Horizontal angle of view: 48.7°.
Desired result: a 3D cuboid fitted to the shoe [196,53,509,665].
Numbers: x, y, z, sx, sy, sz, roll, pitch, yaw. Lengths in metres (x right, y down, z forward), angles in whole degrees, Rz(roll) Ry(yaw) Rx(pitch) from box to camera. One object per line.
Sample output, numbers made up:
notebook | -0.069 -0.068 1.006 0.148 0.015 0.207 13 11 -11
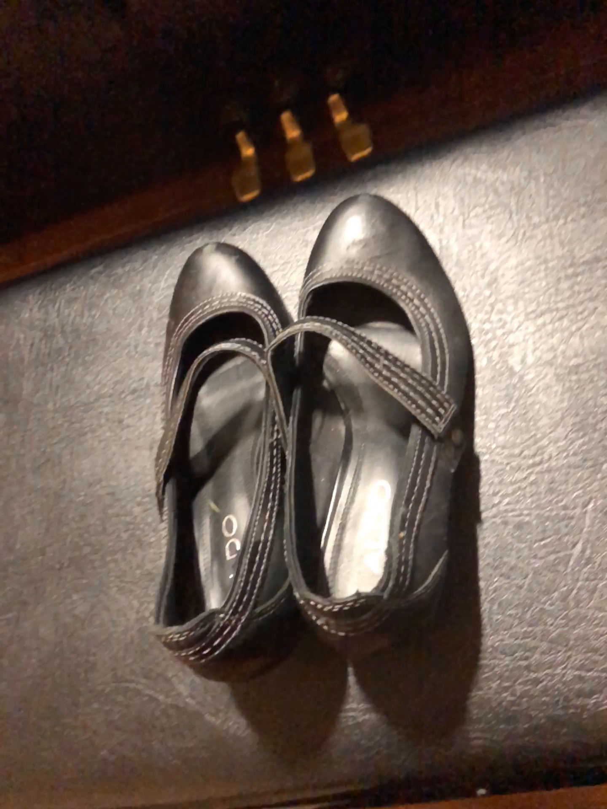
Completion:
shoe | 0.026 -0.012 0.306 0.100 0.110 0.240 -7 69 17

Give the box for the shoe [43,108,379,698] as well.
shoe | -0.047 0.002 0.327 0.100 0.110 0.241 -16 67 13
